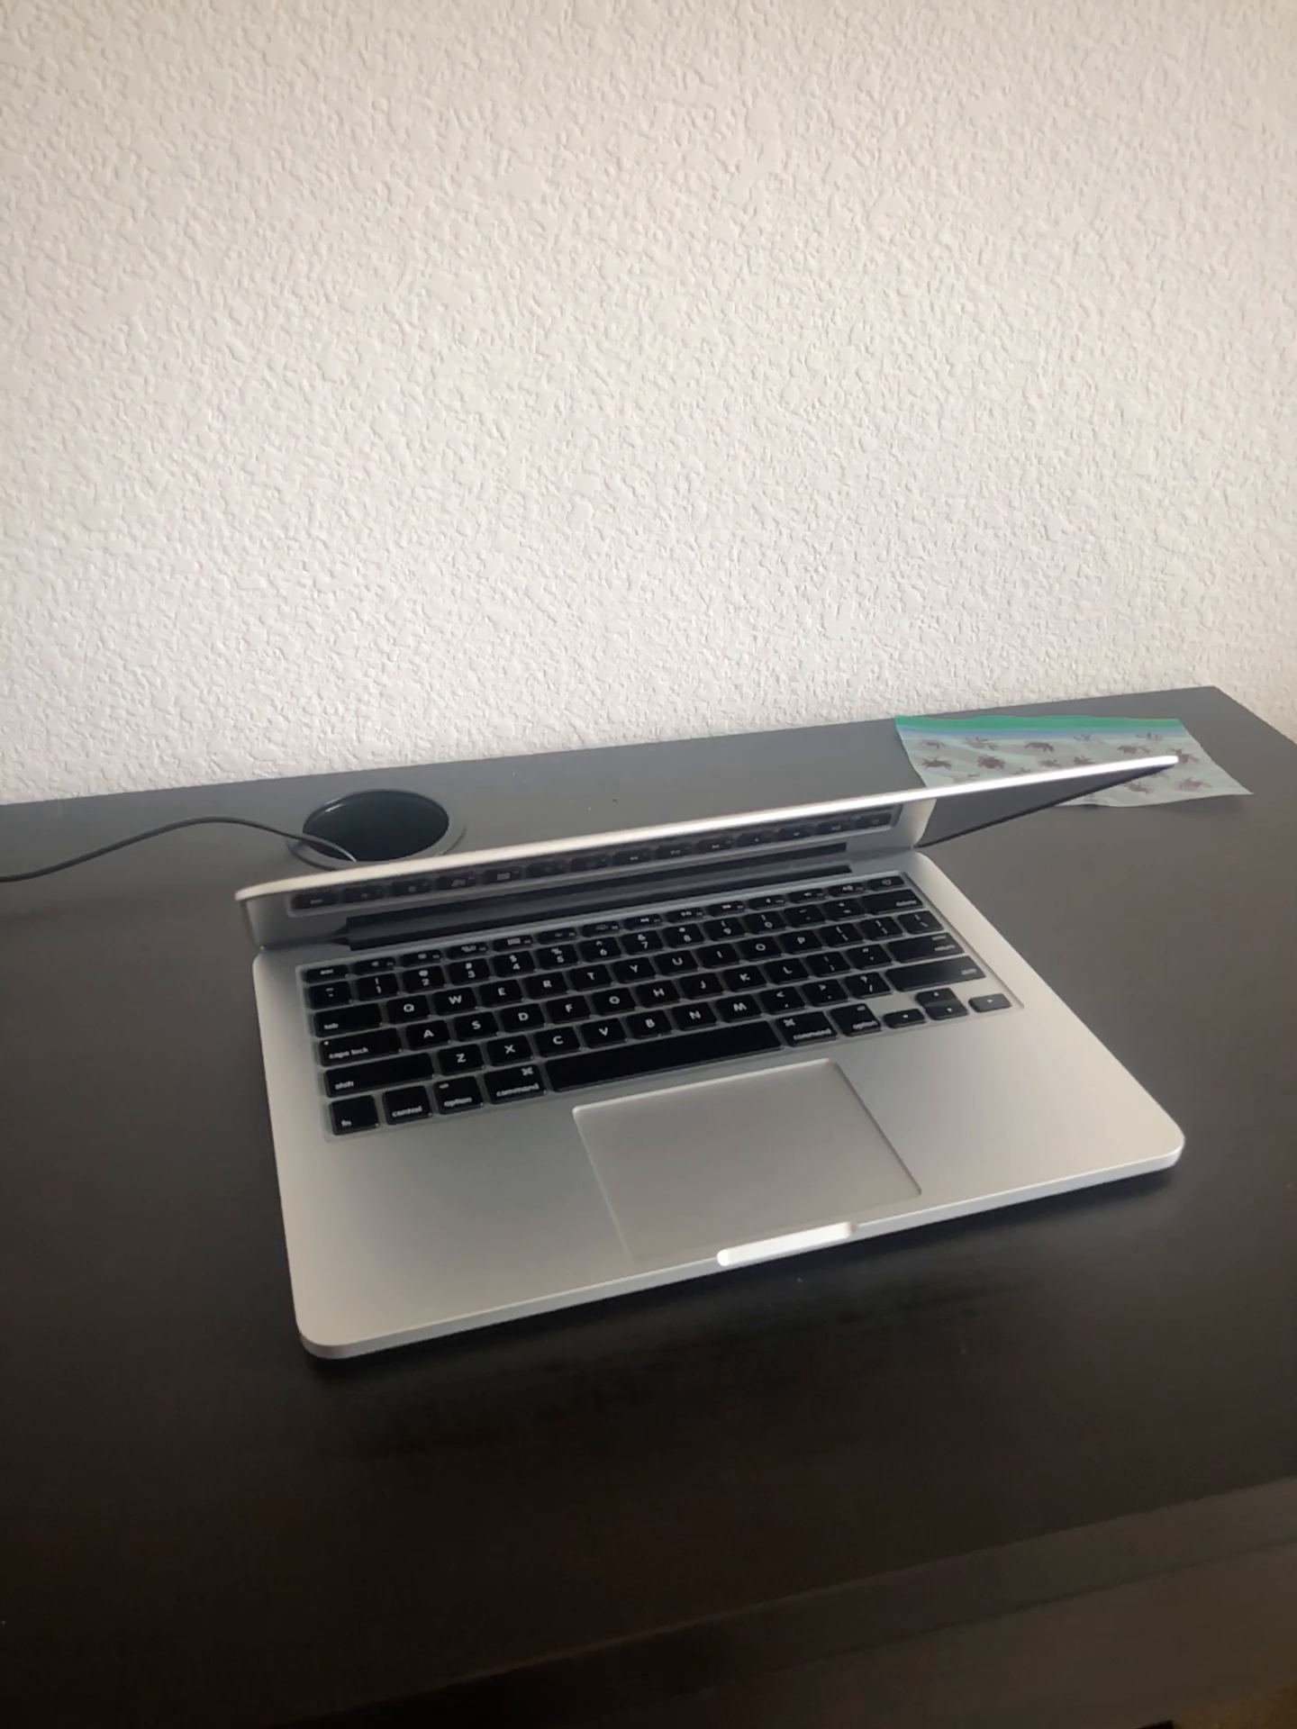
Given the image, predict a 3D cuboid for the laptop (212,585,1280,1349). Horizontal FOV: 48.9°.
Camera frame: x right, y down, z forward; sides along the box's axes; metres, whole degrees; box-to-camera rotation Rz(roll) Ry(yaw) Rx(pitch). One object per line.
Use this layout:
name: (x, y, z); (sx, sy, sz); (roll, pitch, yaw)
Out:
laptop: (0.013, 0.011, 0.523); (0.309, 0.133, 0.225); (-8, 31, -15)
